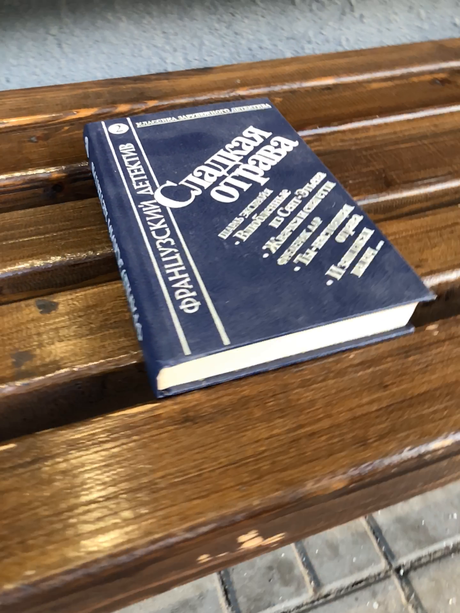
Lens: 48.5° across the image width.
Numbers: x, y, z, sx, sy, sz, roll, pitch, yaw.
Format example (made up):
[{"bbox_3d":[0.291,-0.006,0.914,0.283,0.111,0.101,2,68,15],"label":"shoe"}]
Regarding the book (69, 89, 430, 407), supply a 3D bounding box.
[{"bbox_3d":[-0.008,-0.056,0.292,0.133,0.030,0.212,-13,49,-15],"label":"book"}]
